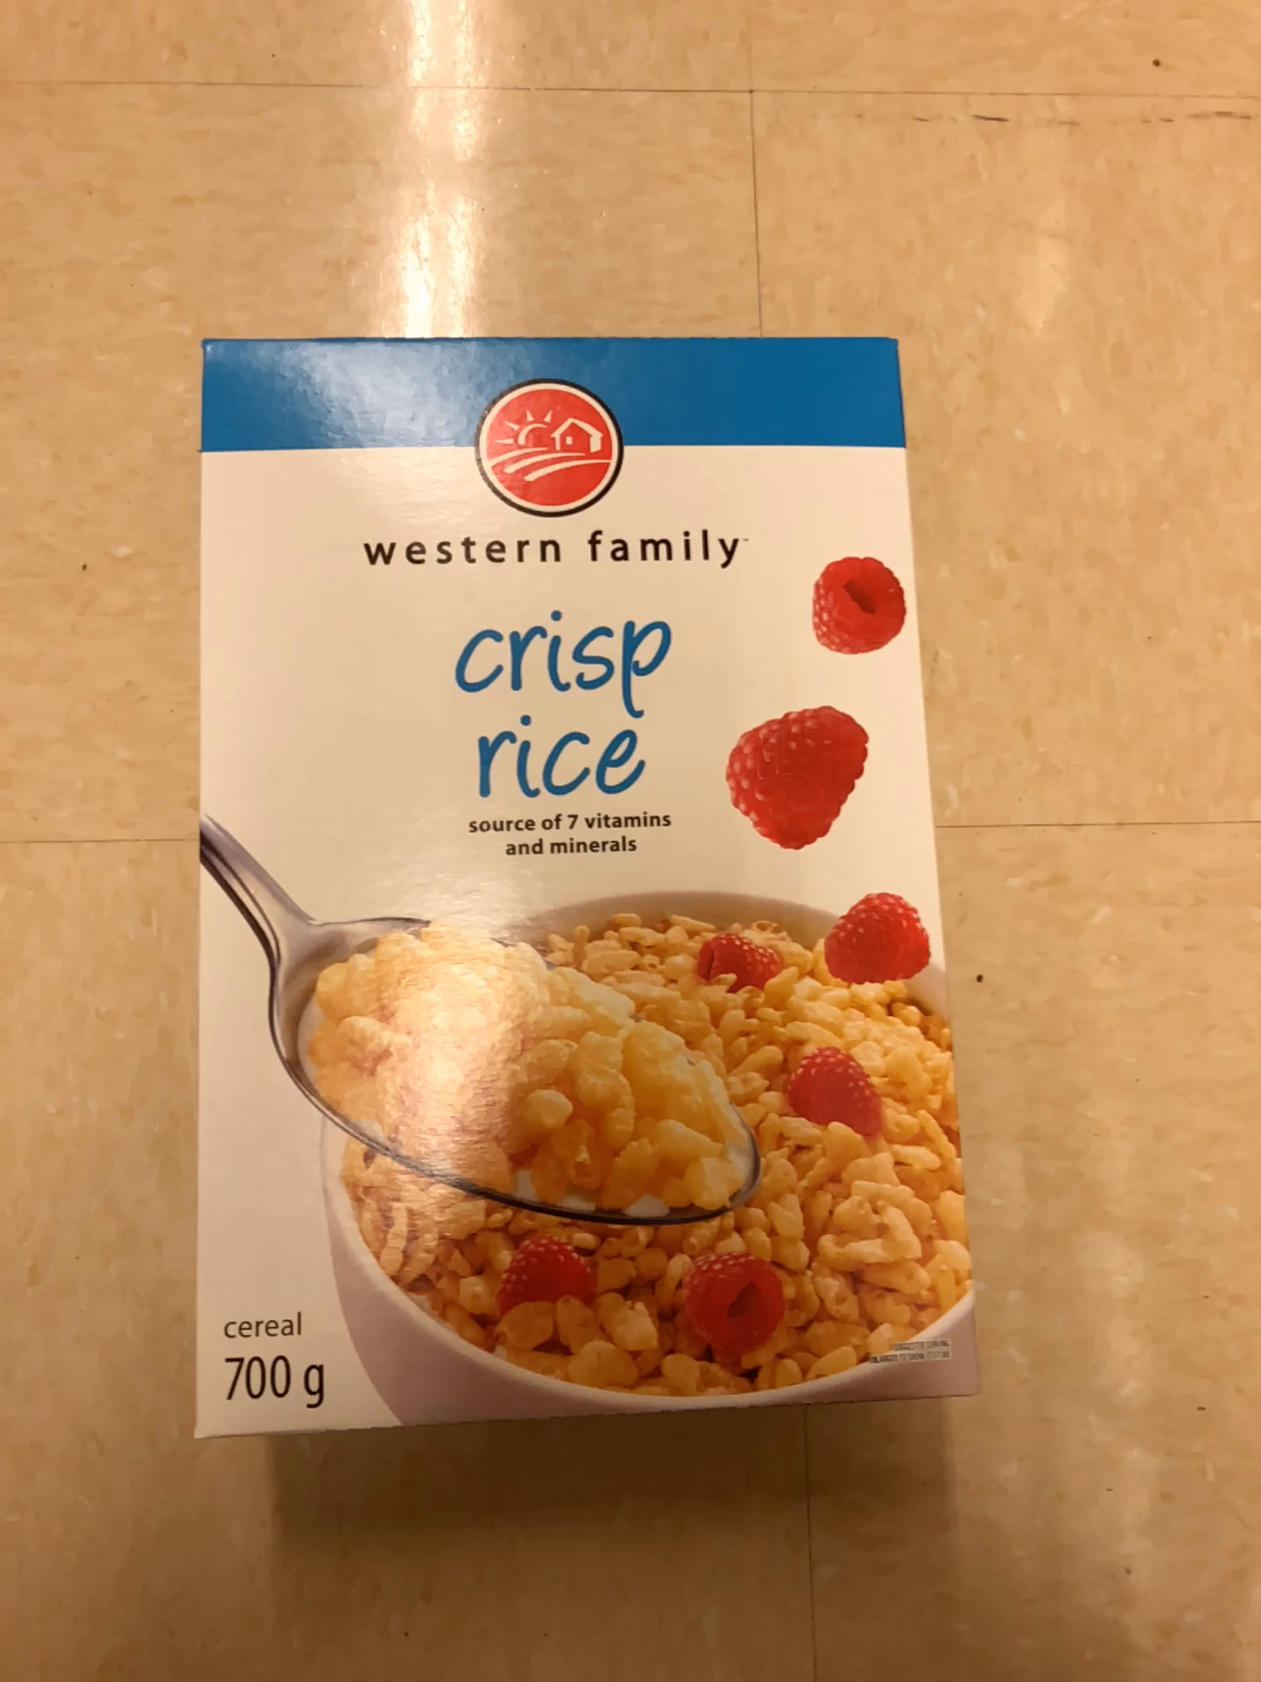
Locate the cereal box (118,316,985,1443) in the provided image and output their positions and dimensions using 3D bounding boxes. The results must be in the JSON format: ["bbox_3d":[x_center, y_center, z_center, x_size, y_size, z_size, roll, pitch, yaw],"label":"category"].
[{"bbox_3d":[-0.025,0.004,0.435,0.230,0.080,0.320,-1,80,-3],"label":"cereal box"}]
